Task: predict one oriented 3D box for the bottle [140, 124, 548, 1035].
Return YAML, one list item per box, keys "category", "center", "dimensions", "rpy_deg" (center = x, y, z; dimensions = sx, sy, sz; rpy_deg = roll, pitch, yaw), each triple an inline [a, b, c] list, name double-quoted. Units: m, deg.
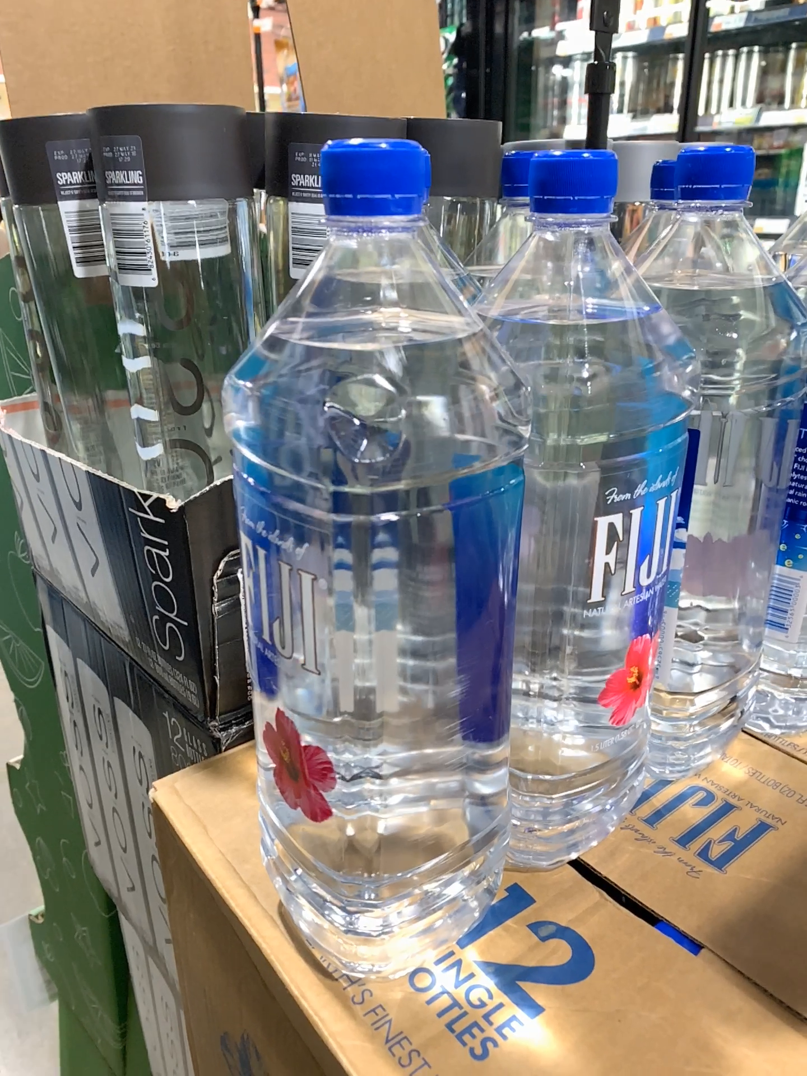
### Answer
- category: "bottle"
  center: [-0.018, 0.017, 0.285]
  dimensions: [0.080, 0.279, 0.090]
  rpy_deg: [-15, 26, -31]
